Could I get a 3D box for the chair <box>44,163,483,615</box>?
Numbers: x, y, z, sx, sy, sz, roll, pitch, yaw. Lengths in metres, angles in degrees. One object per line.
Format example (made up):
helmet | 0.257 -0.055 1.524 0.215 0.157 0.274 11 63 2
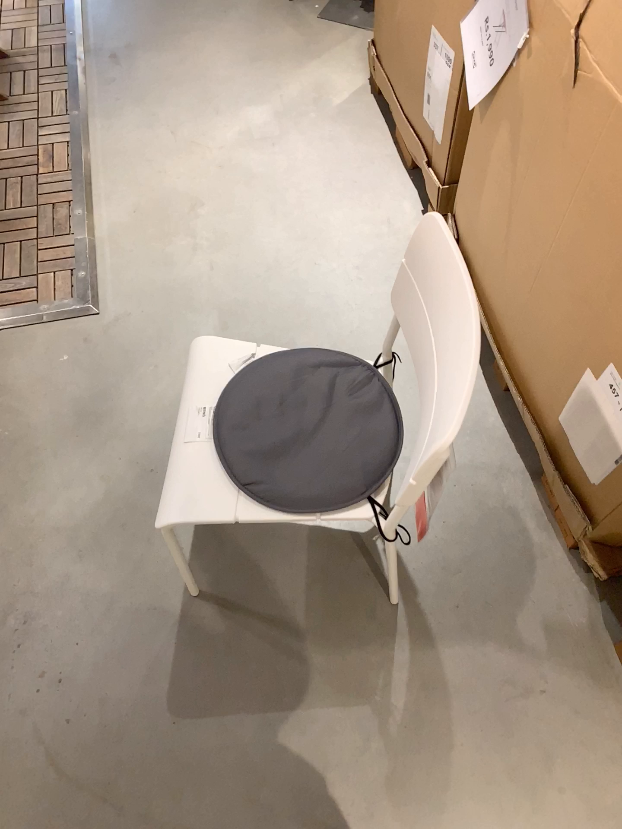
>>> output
chair | -0.042 0.020 1.130 0.490 0.719 0.461 4 59 2
